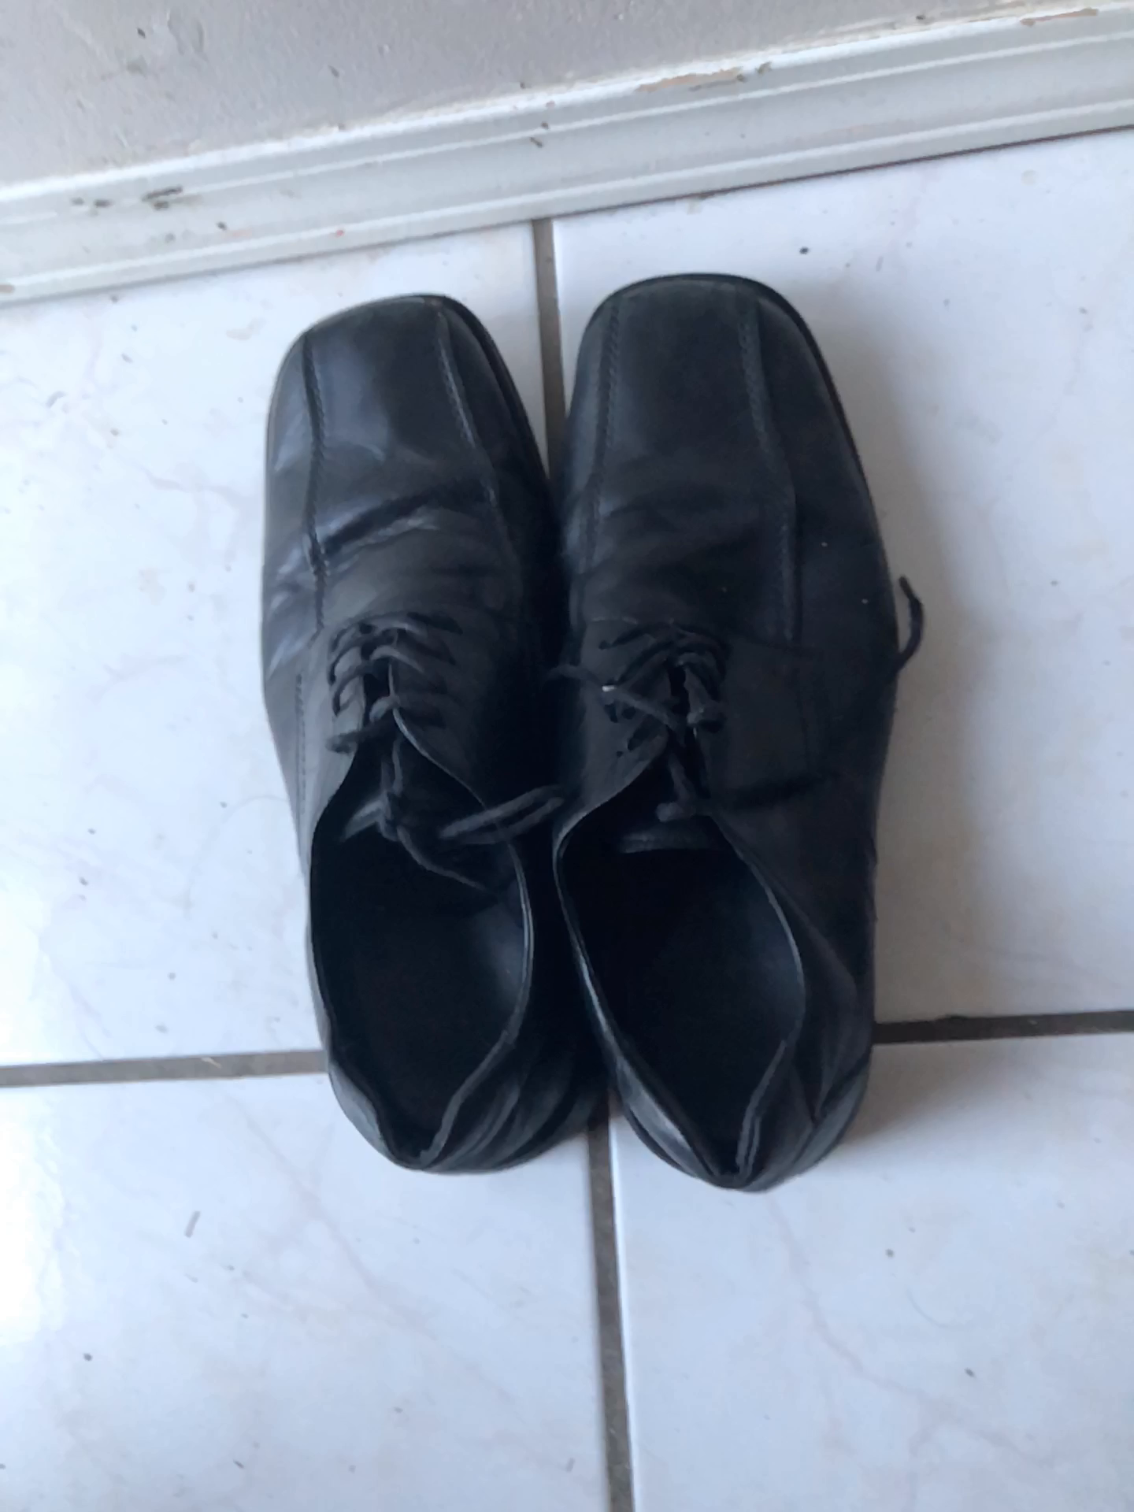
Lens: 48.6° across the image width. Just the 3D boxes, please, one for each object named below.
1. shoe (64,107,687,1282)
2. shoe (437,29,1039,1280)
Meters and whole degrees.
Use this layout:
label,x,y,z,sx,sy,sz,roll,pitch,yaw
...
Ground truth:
label,x,y,z,sx,sy,sz,roll,pitch,yaw
shoe,-0.052,-0.016,0.373,0.120,0.100,0.290,-10,82,9
shoe,0.043,-0.023,0.348,0.110,0.100,0.290,-7,83,10
